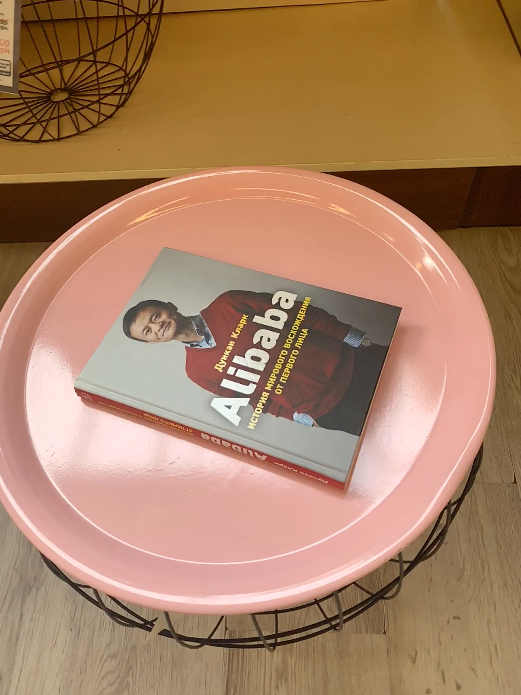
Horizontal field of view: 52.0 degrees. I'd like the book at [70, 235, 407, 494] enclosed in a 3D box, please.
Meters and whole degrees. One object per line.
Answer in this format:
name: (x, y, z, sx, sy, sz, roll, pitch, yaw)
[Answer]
book: (-0.014, -0.001, 0.472, 0.240, 0.026, 0.180, 17, 60, 15)
